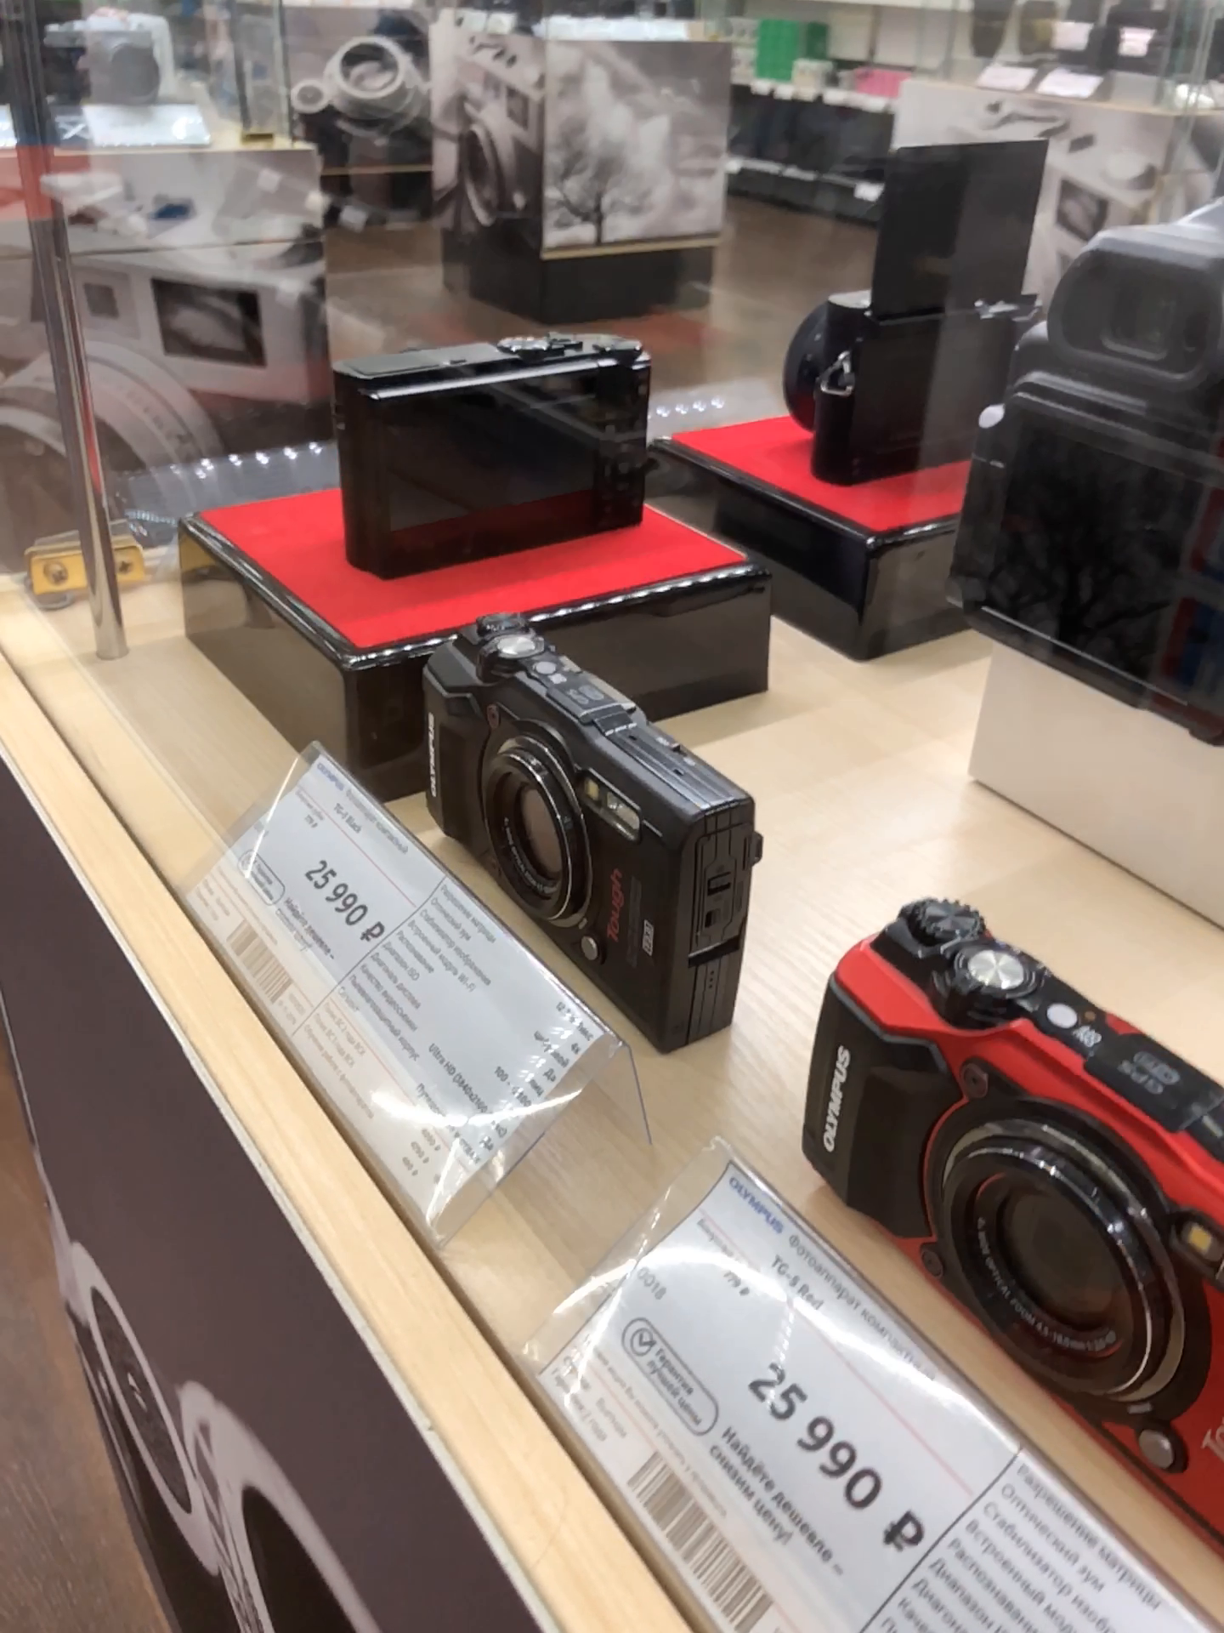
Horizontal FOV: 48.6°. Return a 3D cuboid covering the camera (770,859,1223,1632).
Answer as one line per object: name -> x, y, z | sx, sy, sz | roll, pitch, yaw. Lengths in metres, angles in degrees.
camera -> 0.078, 0.064, 0.228 | 0.030, 0.060, 0.117 | -17, 36, -29

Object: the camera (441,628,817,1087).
camera -> -0.002, 0.005, 0.337 | 0.030, 0.060, 0.117 | -17, 36, -29
